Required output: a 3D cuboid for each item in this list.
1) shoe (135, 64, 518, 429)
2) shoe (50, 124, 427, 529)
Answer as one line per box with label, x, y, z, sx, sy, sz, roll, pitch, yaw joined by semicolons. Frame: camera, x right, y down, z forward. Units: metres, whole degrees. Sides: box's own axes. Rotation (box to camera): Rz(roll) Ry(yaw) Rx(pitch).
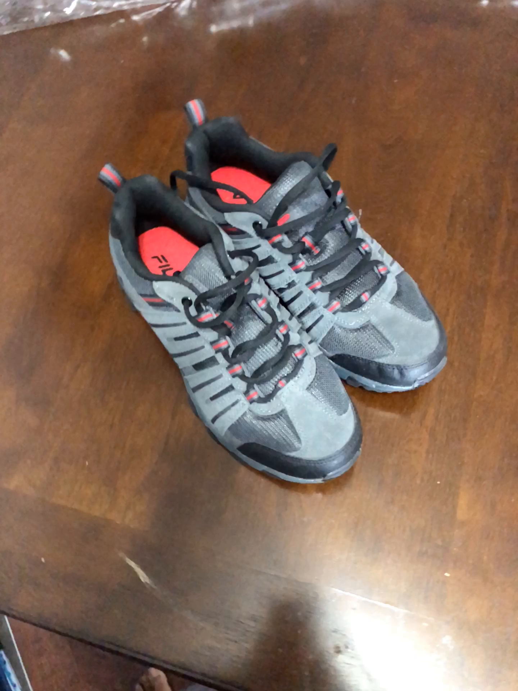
shoe;0.046;-0.089;0.482;0.120;0.100;0.300;-41;69;-13
shoe;-0.026;-0.023;0.458;0.120;0.100;0.300;-35;68;-11
